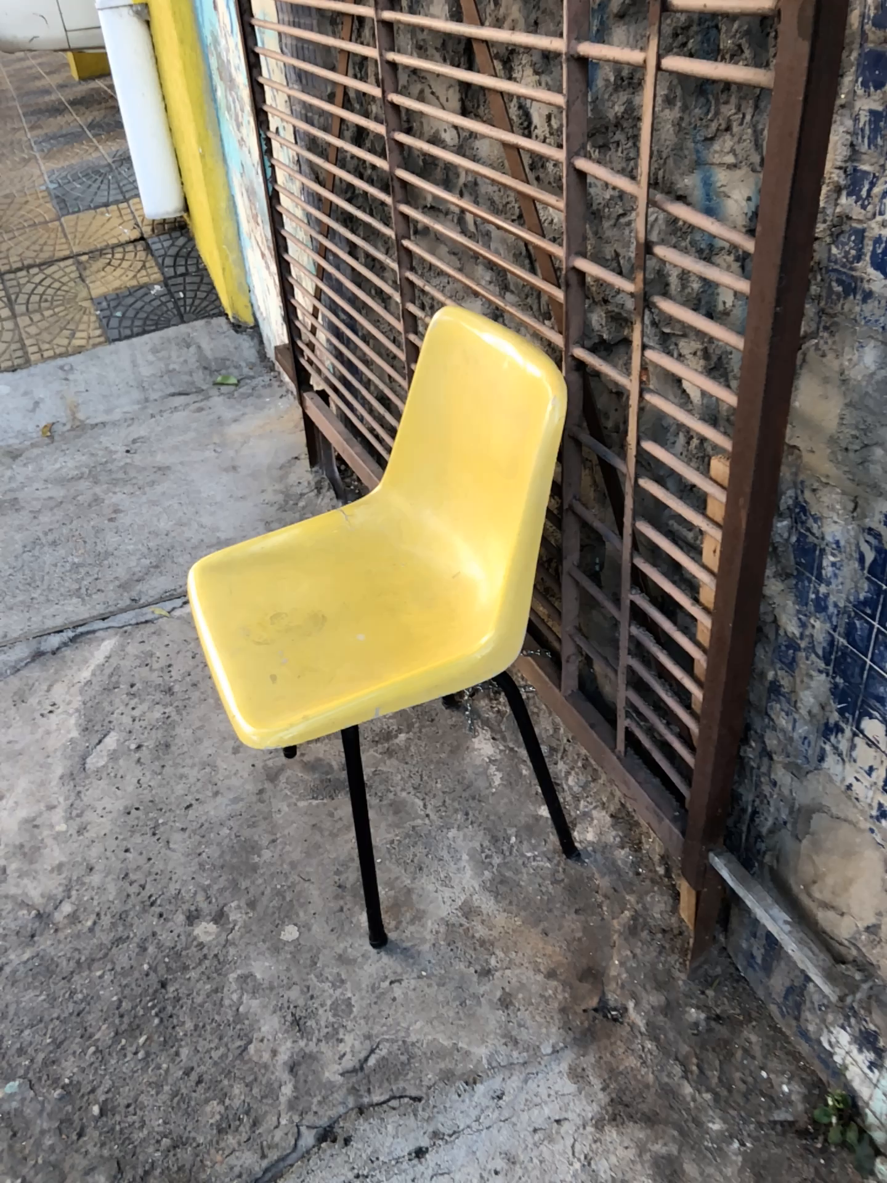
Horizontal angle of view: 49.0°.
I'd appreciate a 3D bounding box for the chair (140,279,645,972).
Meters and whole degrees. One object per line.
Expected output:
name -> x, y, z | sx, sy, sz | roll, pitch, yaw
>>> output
chair -> -0.072, 0.027, 1.346 | 0.470, 0.715, 0.483 | -15, 35, -15
